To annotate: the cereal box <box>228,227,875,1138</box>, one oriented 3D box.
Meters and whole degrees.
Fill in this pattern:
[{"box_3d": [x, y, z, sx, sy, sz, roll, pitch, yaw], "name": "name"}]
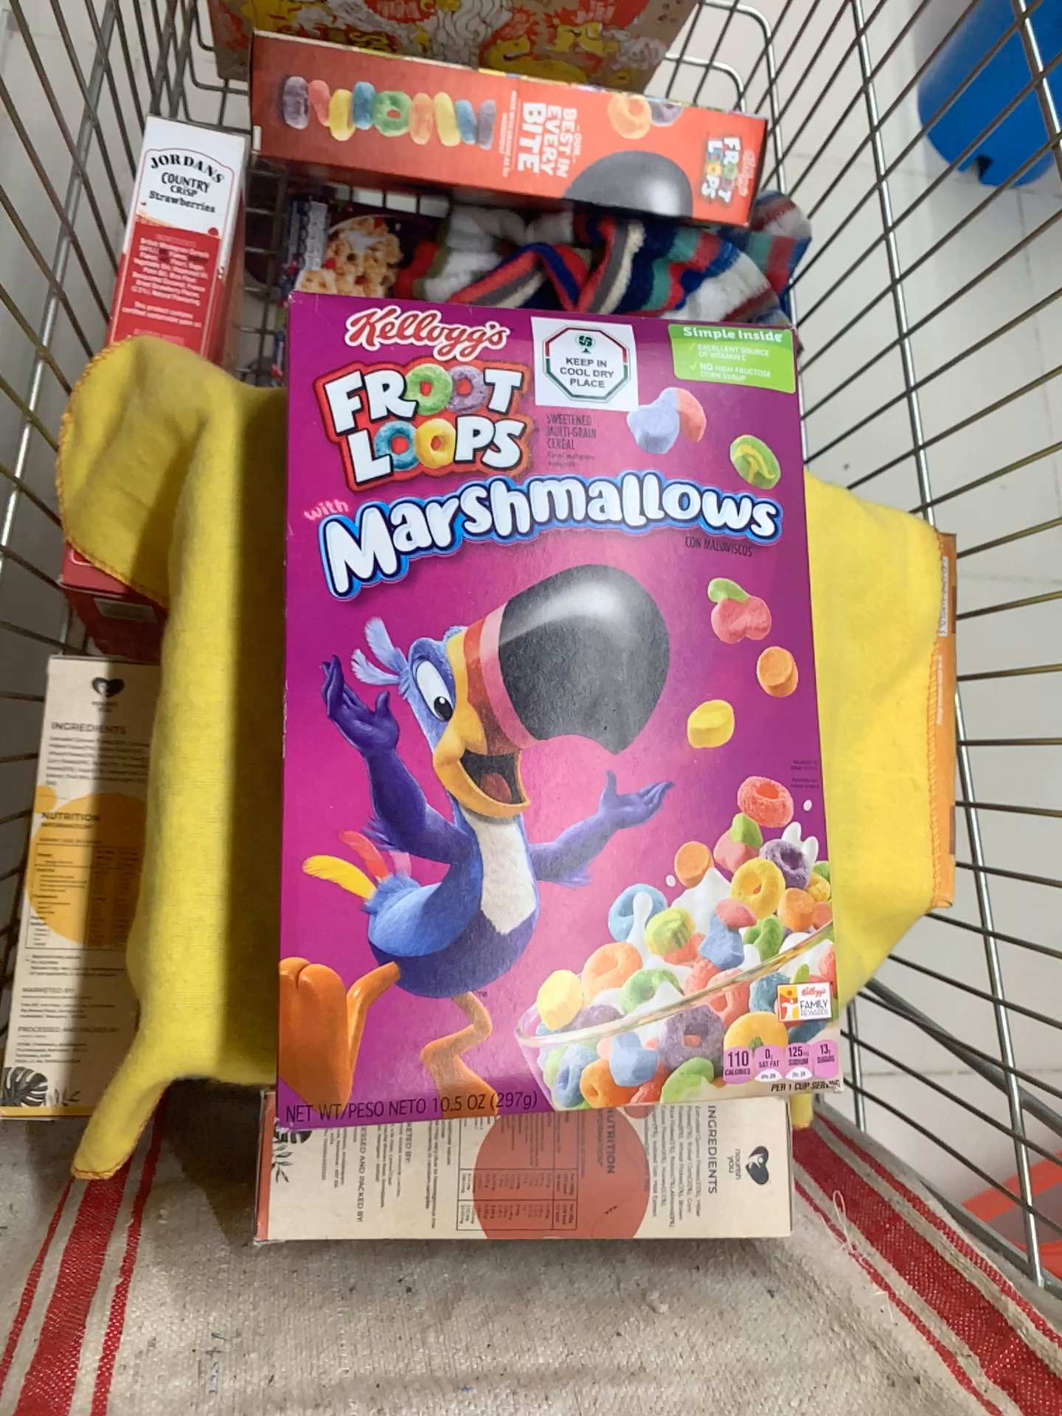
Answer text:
[{"box_3d": [0.001, -0.010, 0.371, 0.190, 0.070, 0.270, 1, 80, -12], "name": "cereal box"}]
